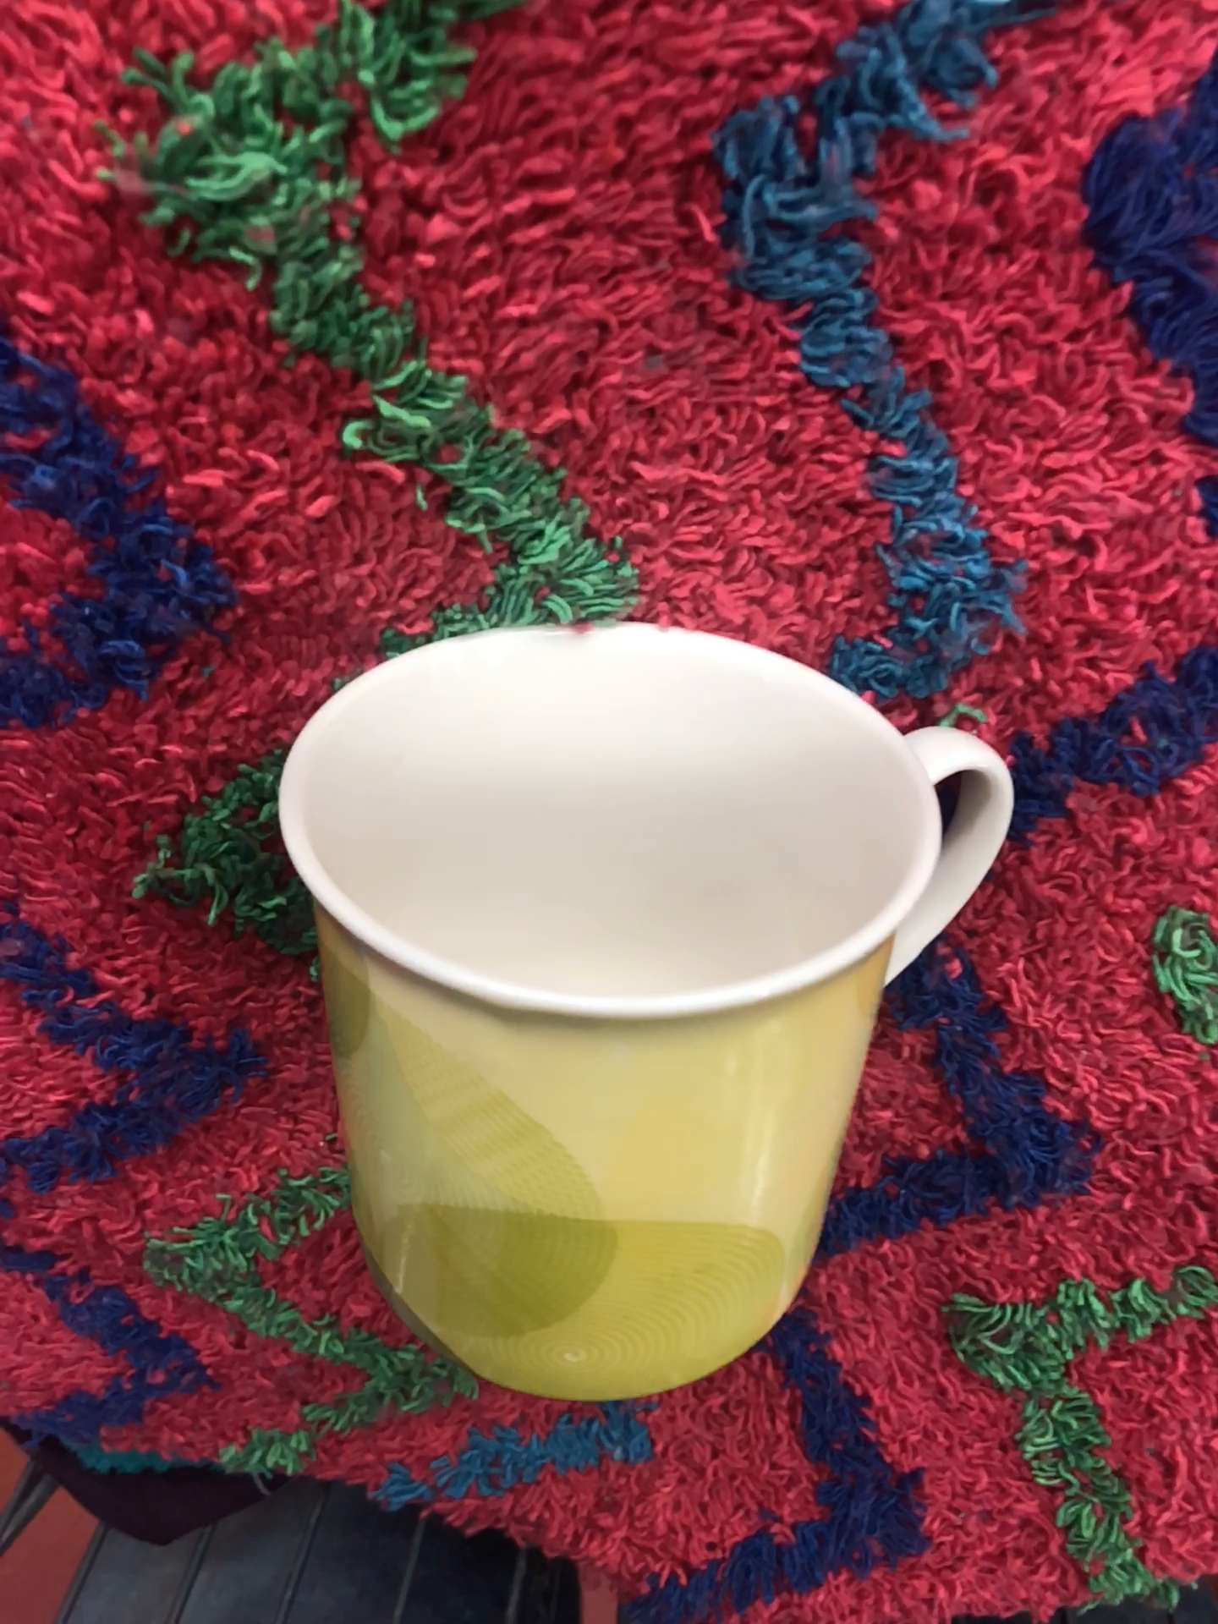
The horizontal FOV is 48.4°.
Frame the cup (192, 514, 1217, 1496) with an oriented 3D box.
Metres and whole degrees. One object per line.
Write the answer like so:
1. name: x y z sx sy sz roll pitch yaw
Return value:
1. cup: 0.008 0.022 0.205 0.110 0.080 0.090 -15 130 -20
